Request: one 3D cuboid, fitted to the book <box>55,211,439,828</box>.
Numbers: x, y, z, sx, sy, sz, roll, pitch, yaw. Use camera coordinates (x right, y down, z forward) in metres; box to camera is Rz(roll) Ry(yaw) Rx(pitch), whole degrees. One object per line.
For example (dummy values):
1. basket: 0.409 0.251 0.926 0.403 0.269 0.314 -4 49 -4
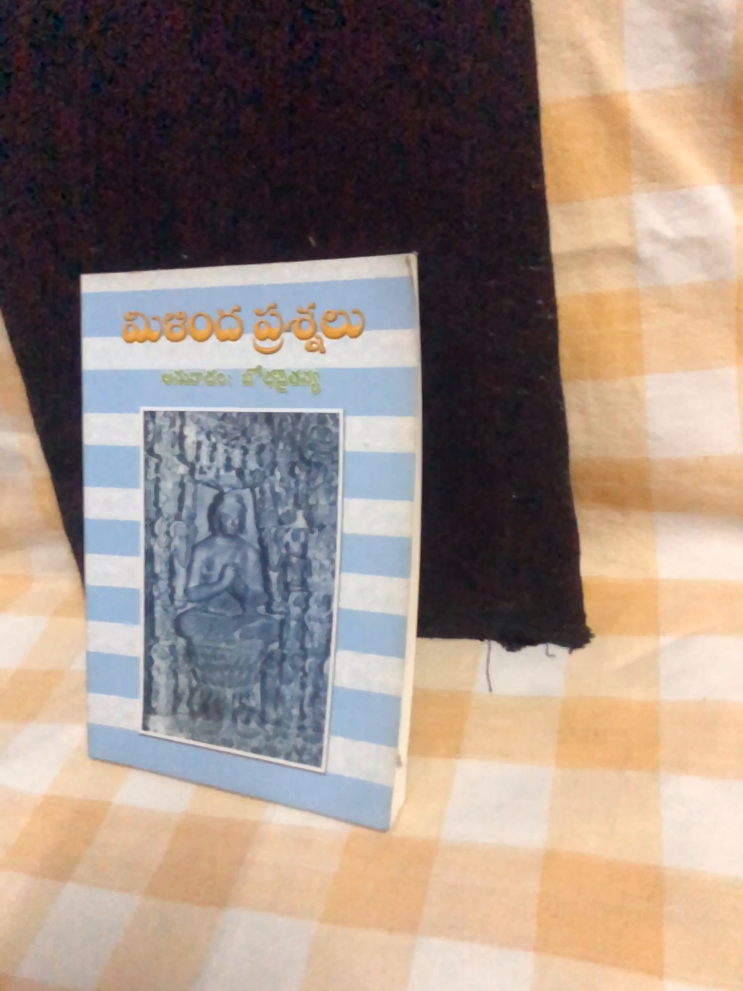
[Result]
1. book: -0.055 0.006 0.327 0.160 0.210 0.030 3 4 26
